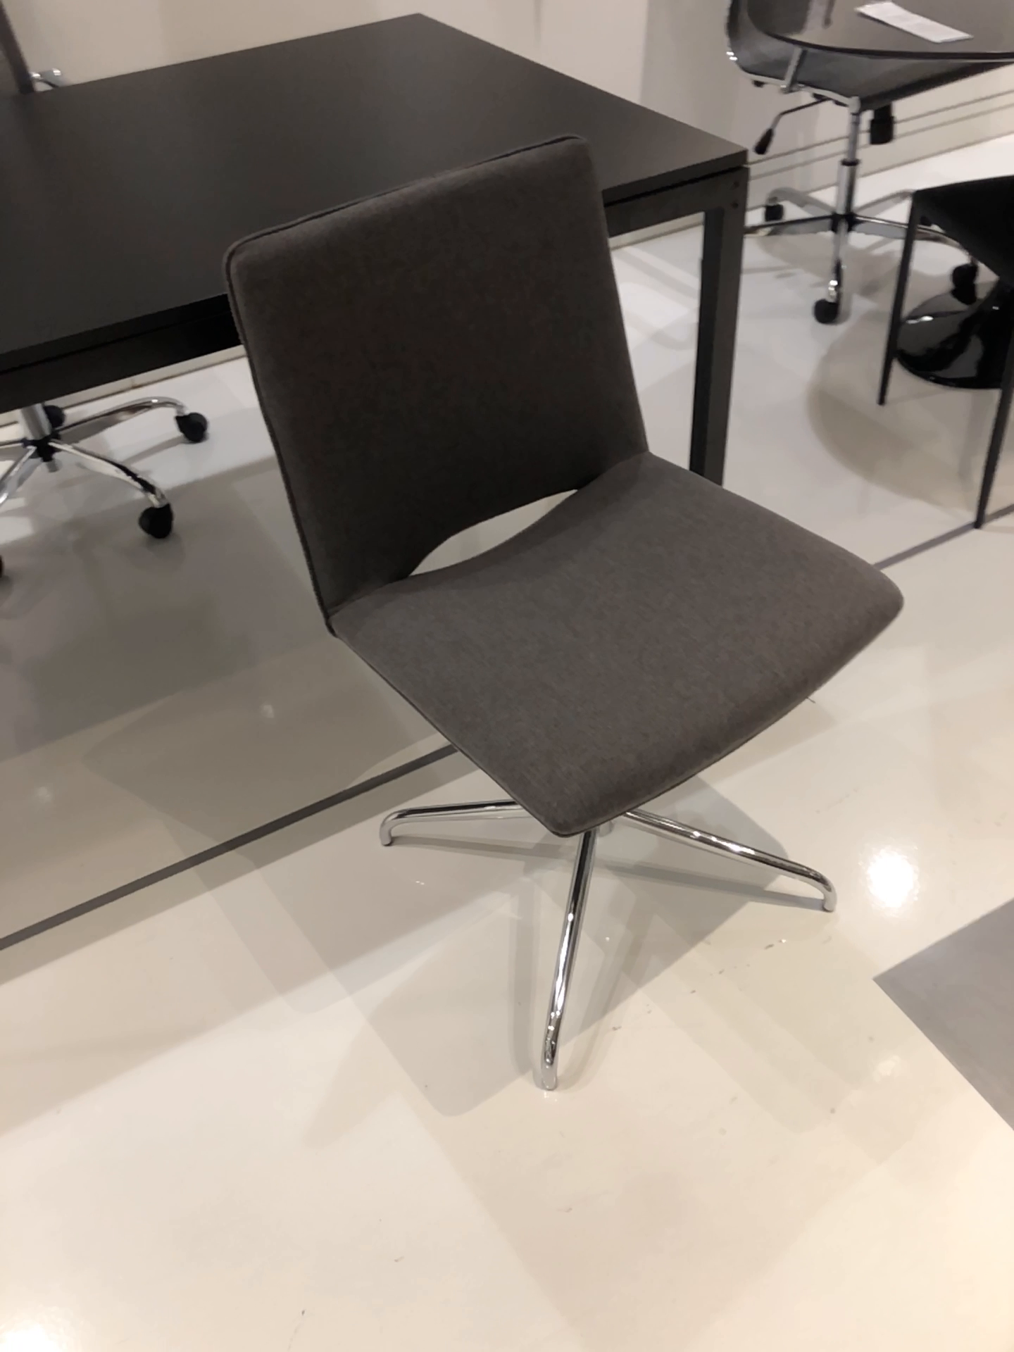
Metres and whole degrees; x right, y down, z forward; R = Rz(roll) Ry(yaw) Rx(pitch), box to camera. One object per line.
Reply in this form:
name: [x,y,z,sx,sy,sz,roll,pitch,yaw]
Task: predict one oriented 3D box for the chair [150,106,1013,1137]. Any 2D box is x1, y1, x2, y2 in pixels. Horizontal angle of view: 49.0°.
chair: [0.083,-0.062,1.220,0.522,0.834,0.552,-30,48,-26]
